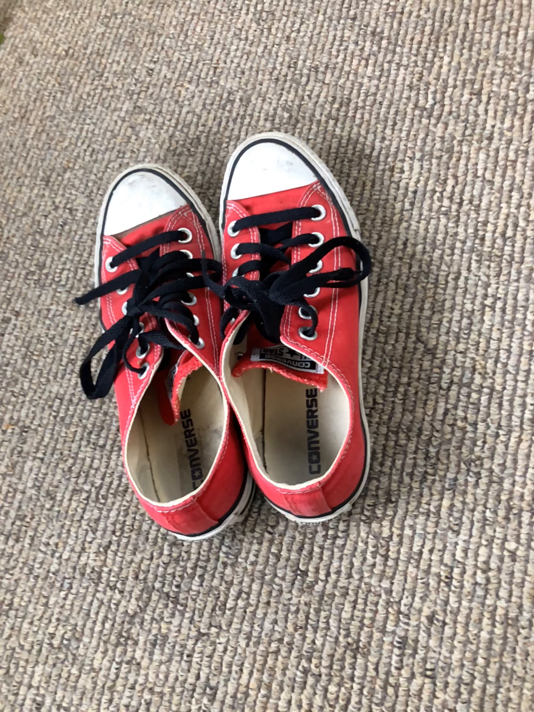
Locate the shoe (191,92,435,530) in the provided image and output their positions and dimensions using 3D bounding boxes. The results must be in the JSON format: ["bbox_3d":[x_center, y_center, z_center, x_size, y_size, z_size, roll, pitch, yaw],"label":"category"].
[{"bbox_3d":[0.026,-0.028,0.390,0.102,0.088,0.259,-12,70,9],"label":"shoe"}]

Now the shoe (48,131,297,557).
[{"bbox_3d":[-0.068,-0.007,0.414,0.102,0.097,0.262,-17,69,7],"label":"shoe"}]
